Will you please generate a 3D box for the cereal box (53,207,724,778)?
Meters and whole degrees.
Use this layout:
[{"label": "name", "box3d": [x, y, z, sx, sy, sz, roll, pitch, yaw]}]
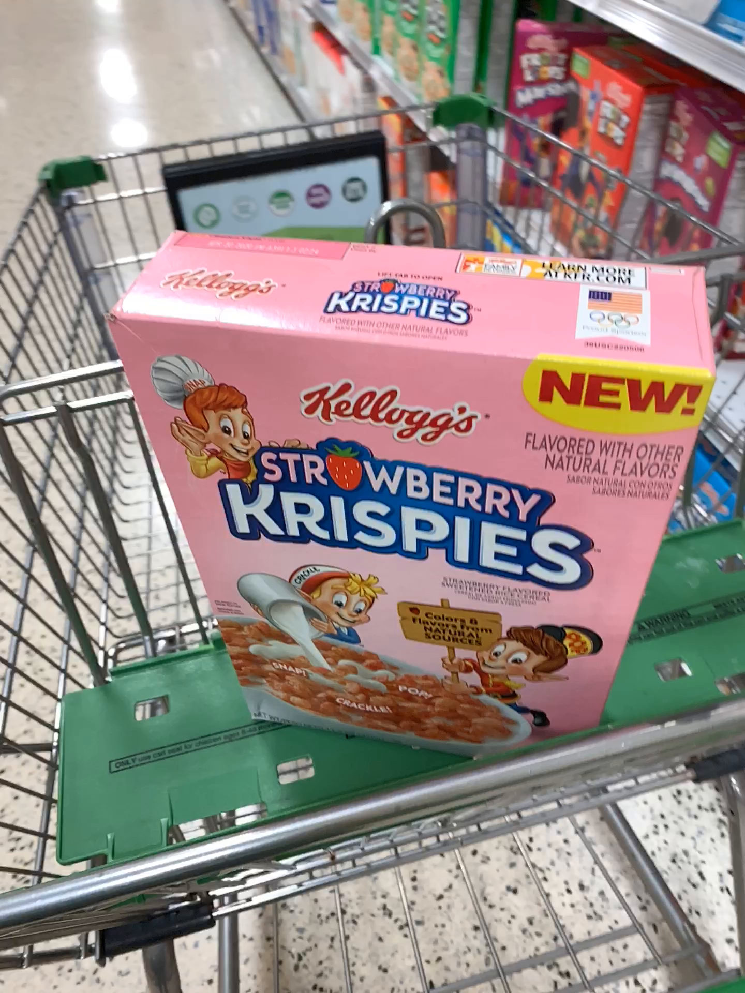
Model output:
[{"label": "cereal box", "box3d": [0.009, 0.025, 0.367, 0.210, 0.297, 0.061, 8, 49, 10]}]
